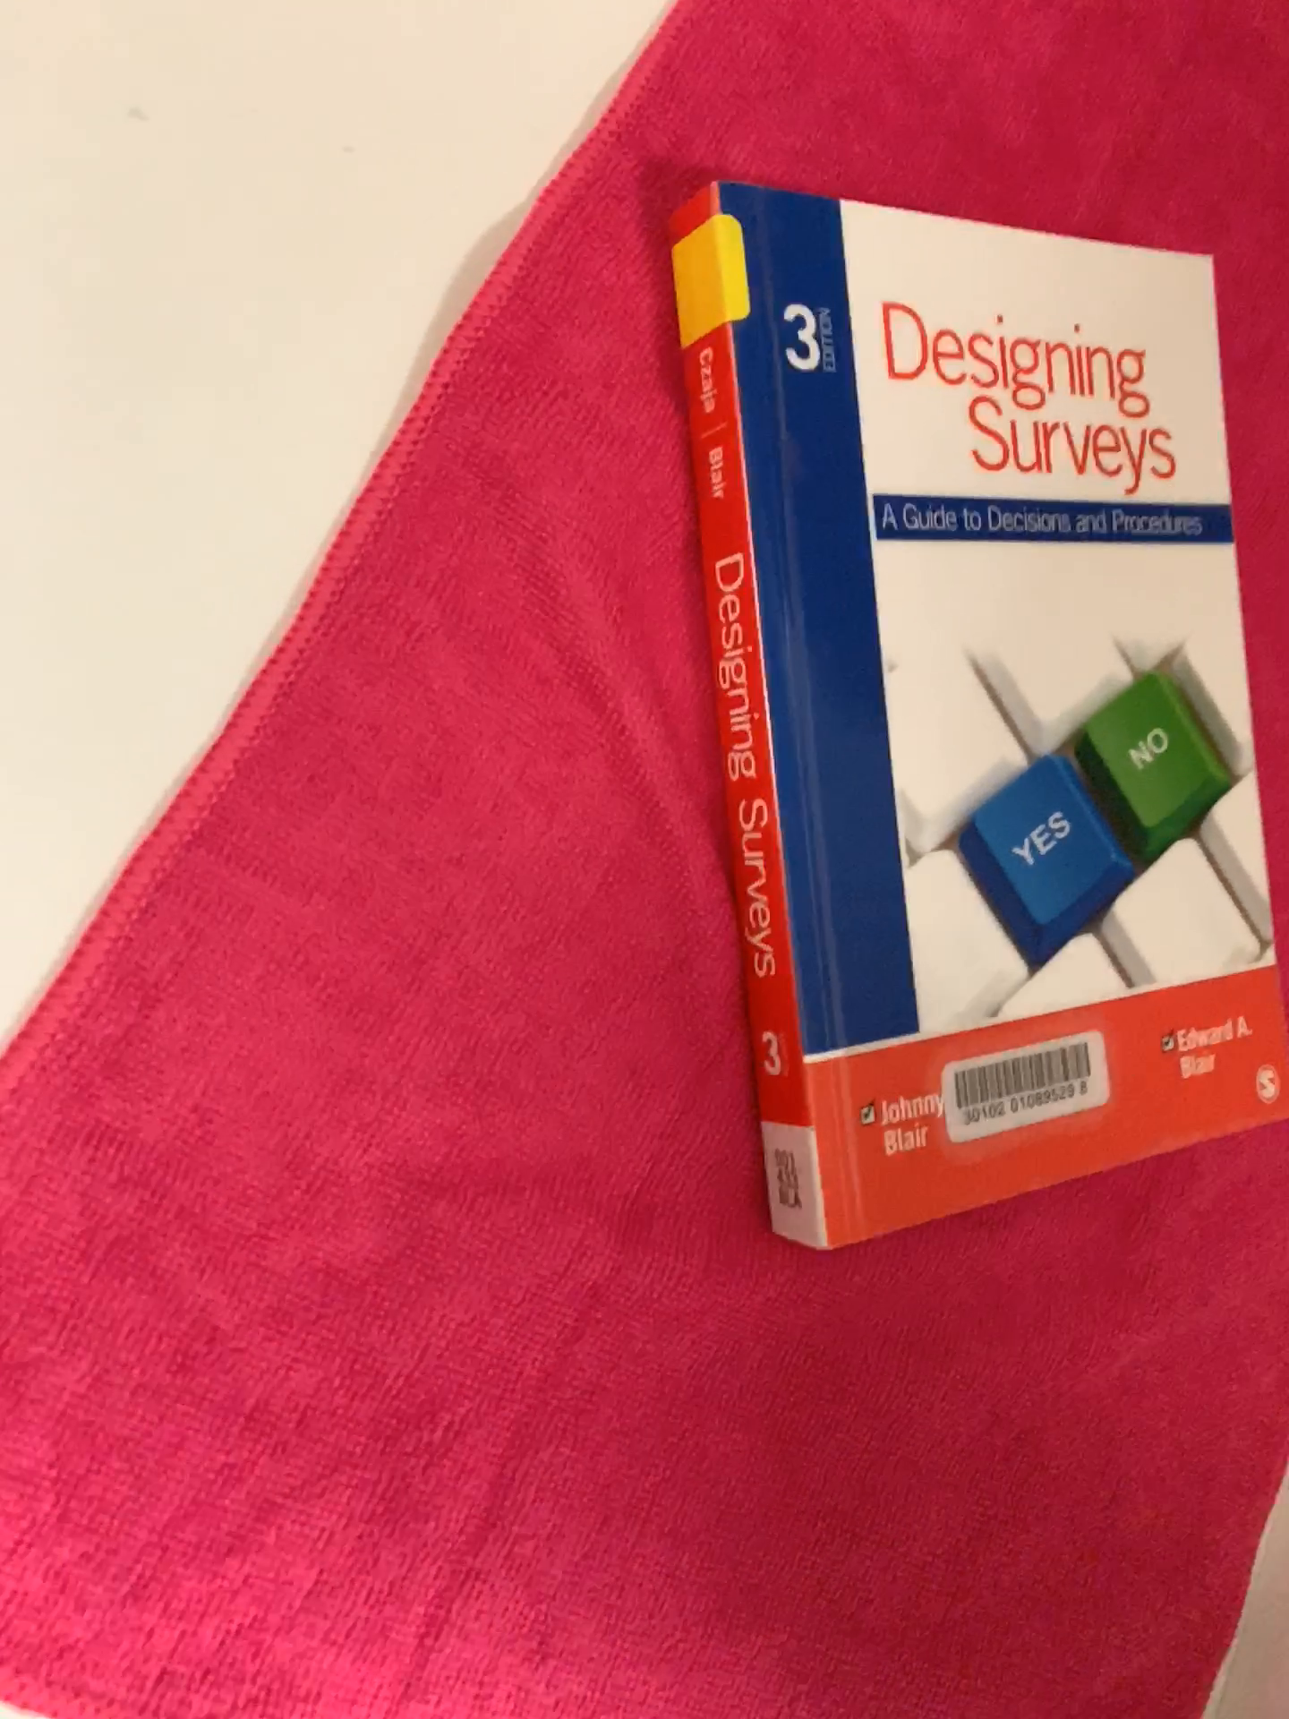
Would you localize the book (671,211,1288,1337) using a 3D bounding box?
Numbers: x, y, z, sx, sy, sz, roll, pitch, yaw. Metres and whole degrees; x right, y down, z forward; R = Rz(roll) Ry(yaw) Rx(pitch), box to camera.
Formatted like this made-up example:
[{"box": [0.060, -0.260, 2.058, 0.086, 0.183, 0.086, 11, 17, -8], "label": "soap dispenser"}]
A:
[{"box": [0.094, -0.025, 0.319, 0.160, 0.026, 0.230, -8, 93, -29], "label": "book"}]
